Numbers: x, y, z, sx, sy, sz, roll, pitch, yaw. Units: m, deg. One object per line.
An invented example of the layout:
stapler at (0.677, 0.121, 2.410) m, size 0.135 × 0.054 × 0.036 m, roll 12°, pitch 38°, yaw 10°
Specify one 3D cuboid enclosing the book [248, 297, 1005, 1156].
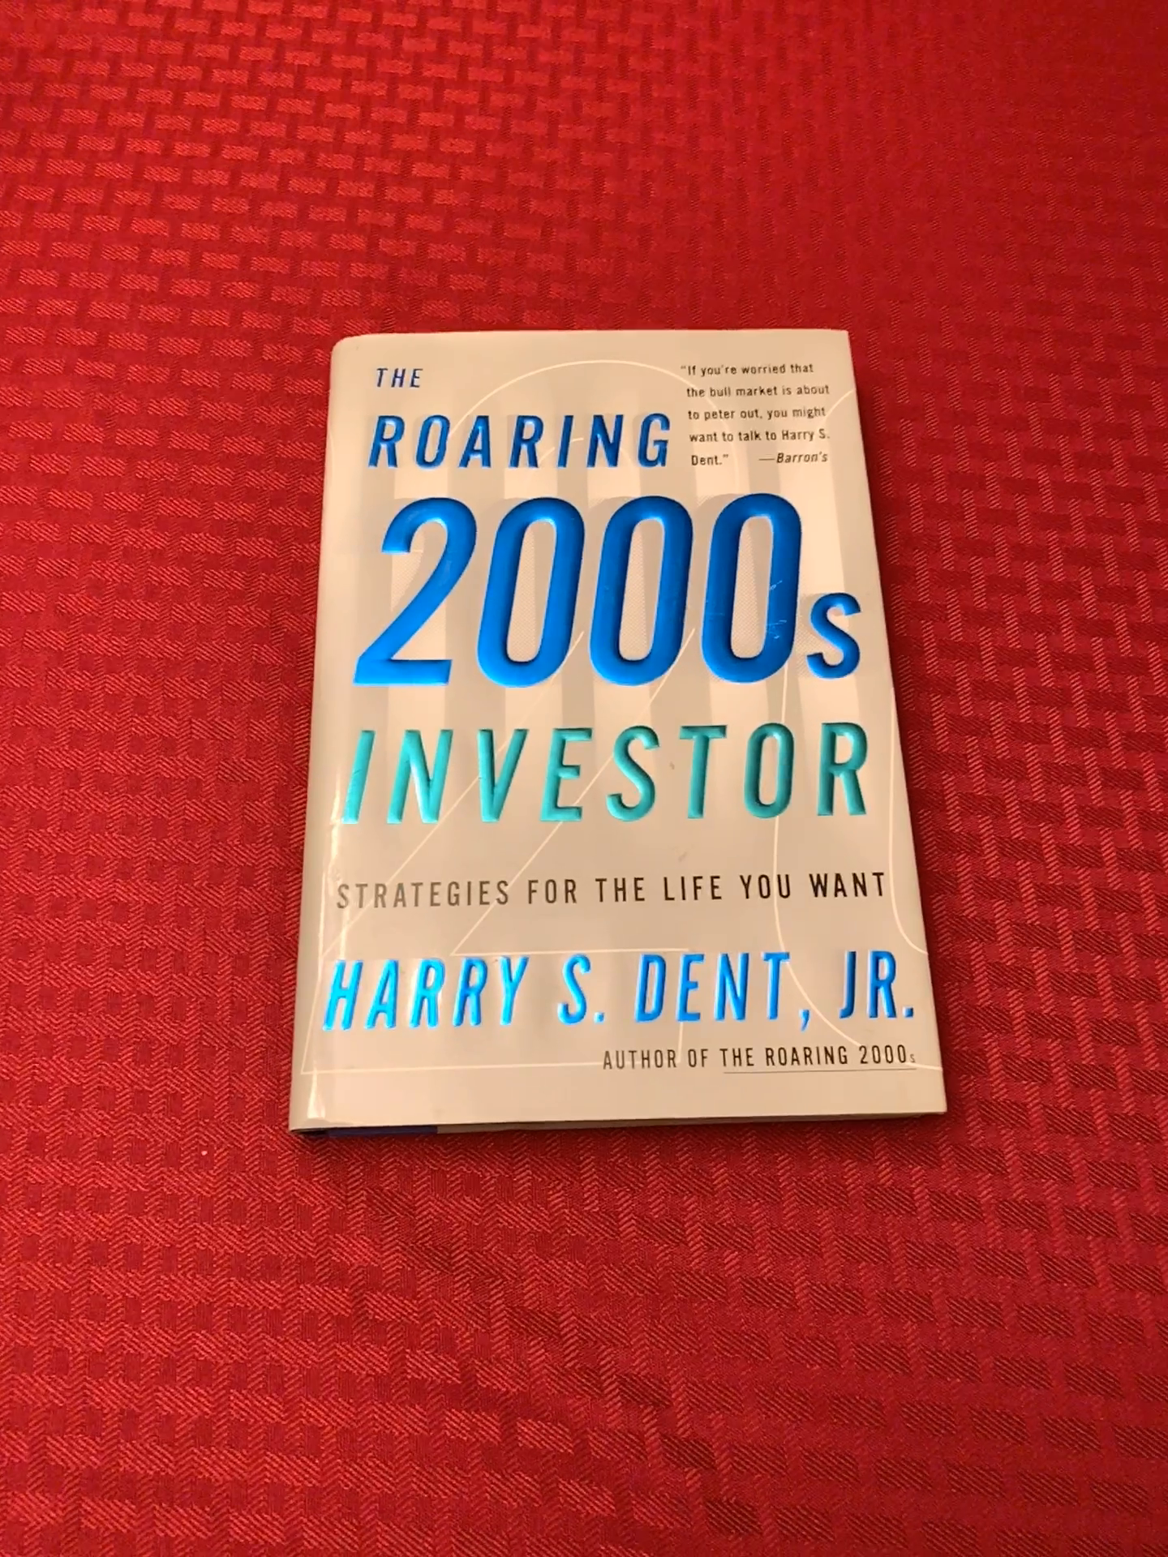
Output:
book at (0.006, -0.025, 0.334) m, size 0.170 × 0.040 × 0.240 m, roll -1°, pitch 68°, yaw -2°
